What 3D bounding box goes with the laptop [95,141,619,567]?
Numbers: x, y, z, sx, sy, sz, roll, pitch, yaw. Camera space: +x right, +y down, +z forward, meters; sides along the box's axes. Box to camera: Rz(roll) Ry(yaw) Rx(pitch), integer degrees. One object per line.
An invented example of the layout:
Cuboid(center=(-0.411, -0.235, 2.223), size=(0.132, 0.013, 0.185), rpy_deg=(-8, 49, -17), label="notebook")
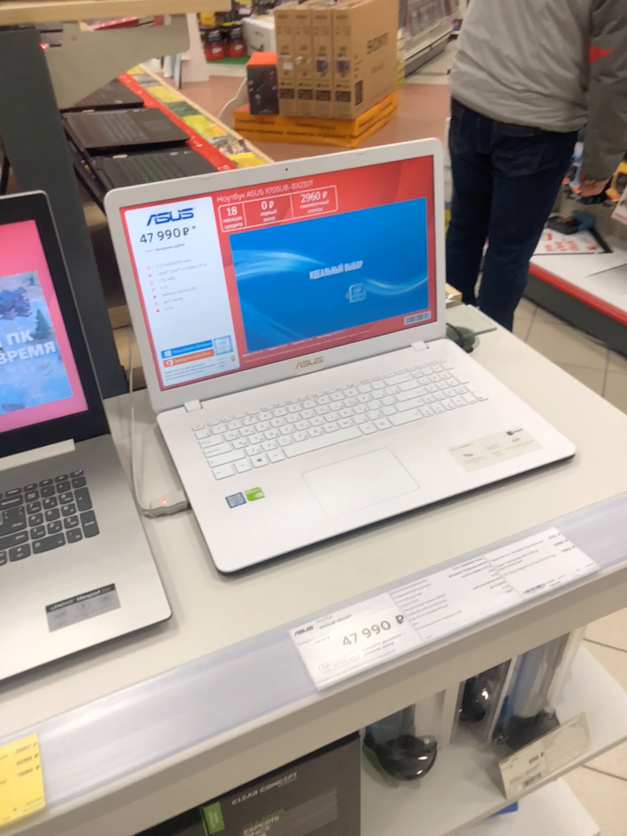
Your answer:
Cuboid(center=(0.026, -0.097, 0.711), size=(0.386, 0.235, 0.302), rpy_deg=(-16, 39, -18), label="laptop")
